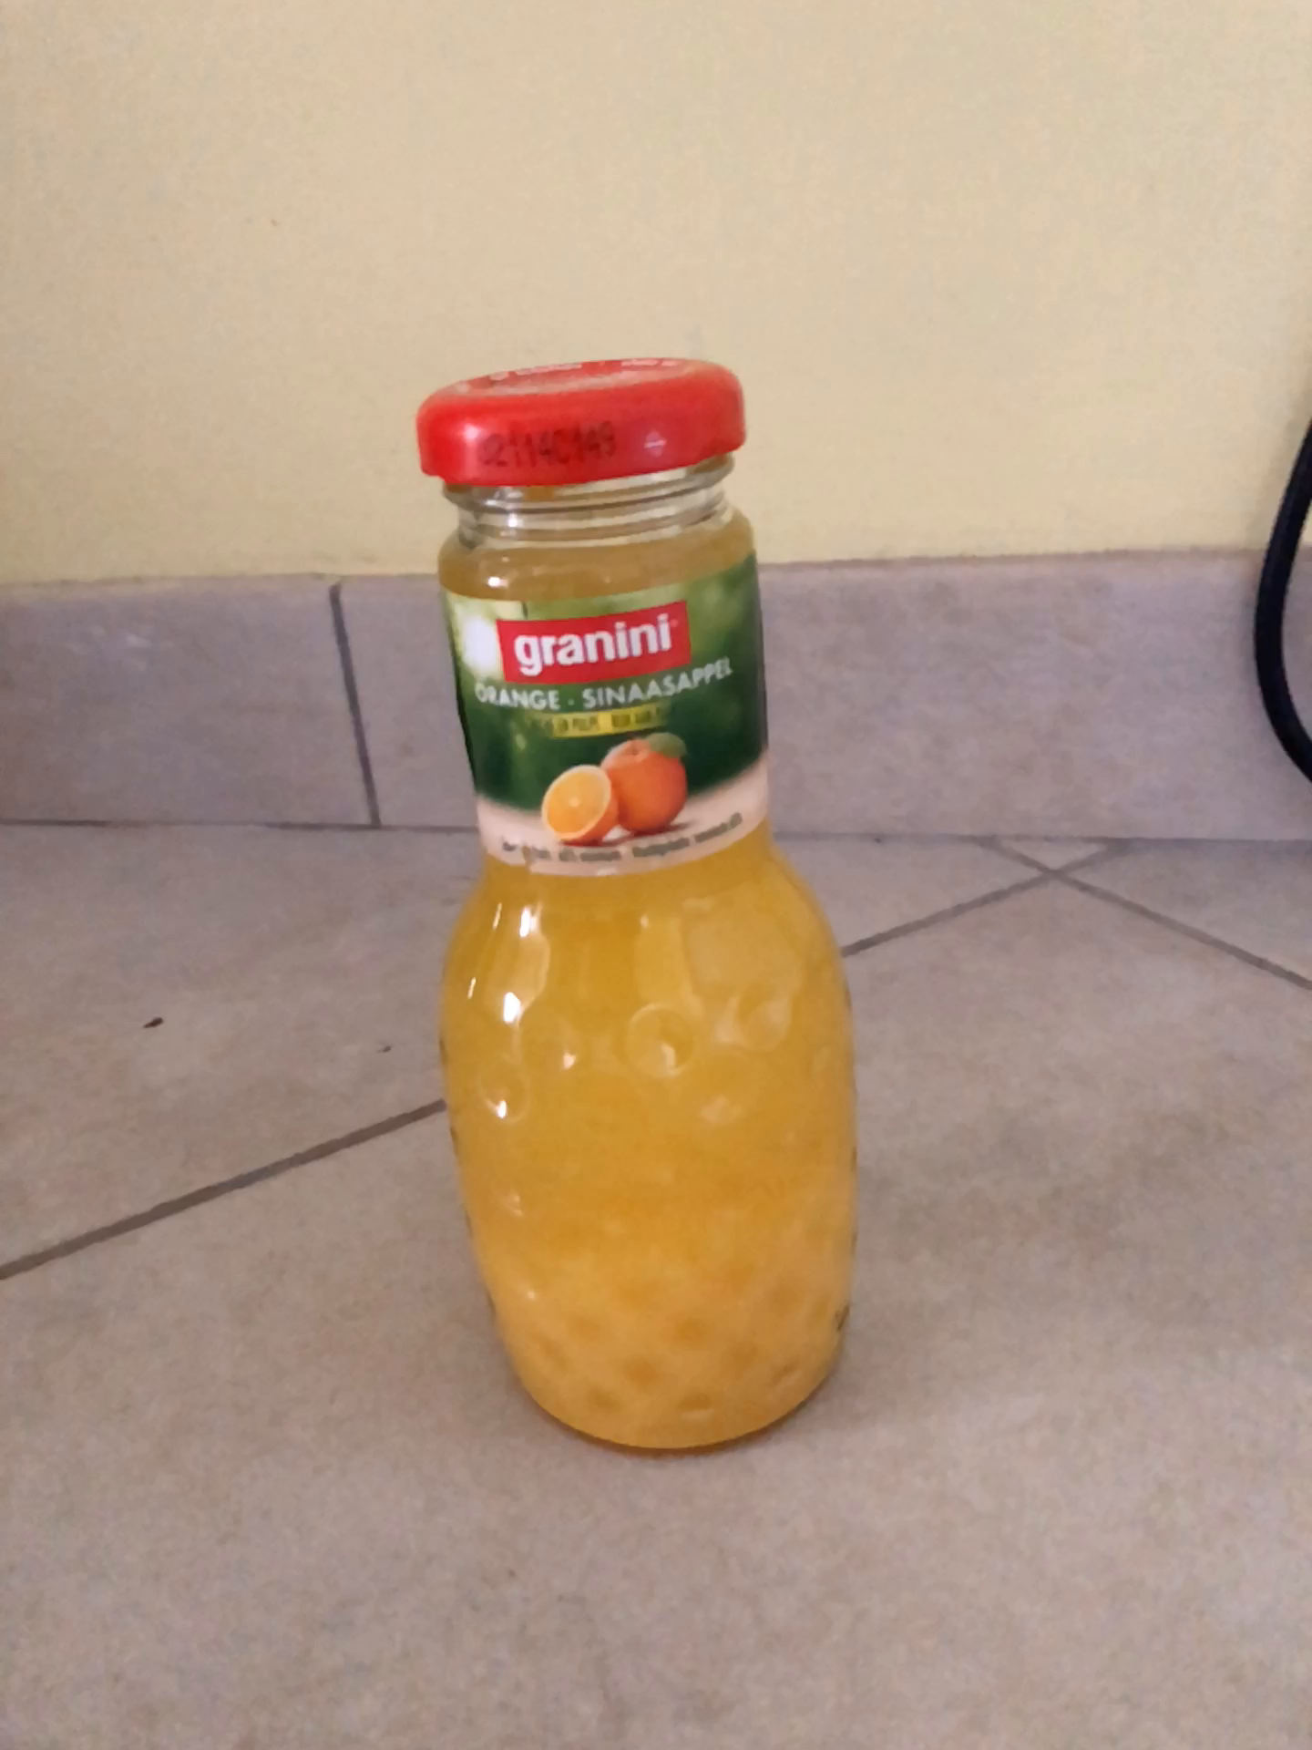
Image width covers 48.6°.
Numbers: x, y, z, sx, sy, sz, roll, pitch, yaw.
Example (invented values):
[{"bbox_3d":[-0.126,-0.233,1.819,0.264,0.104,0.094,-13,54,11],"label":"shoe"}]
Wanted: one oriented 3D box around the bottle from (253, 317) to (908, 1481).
[{"bbox_3d":[-0.002,0.007,0.218,0.070,0.159,0.060,-4,25,3],"label":"bottle"}]
